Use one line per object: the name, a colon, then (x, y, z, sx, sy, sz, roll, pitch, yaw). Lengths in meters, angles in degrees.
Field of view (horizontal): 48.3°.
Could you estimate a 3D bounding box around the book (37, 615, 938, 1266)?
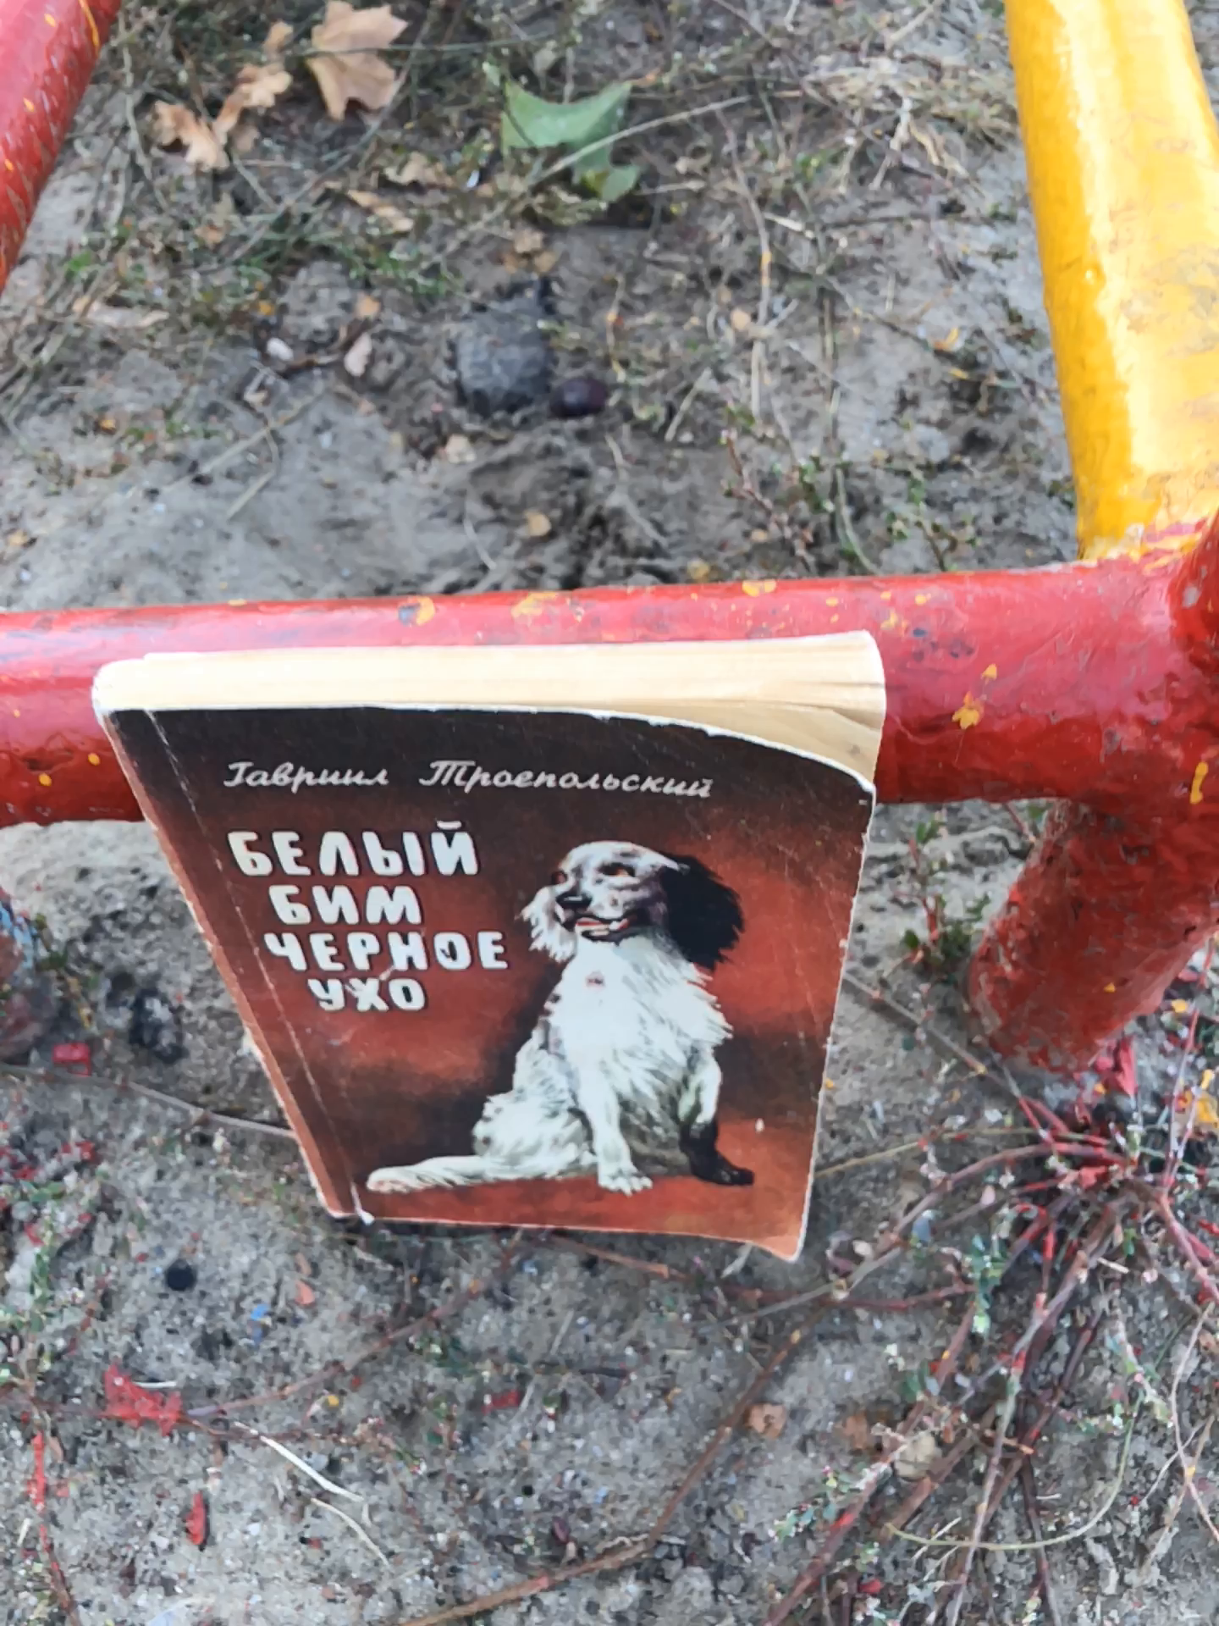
book: (-0.012, 0.041, 0.280, 0.130, 0.196, 0.030, 2, 53, 6)
